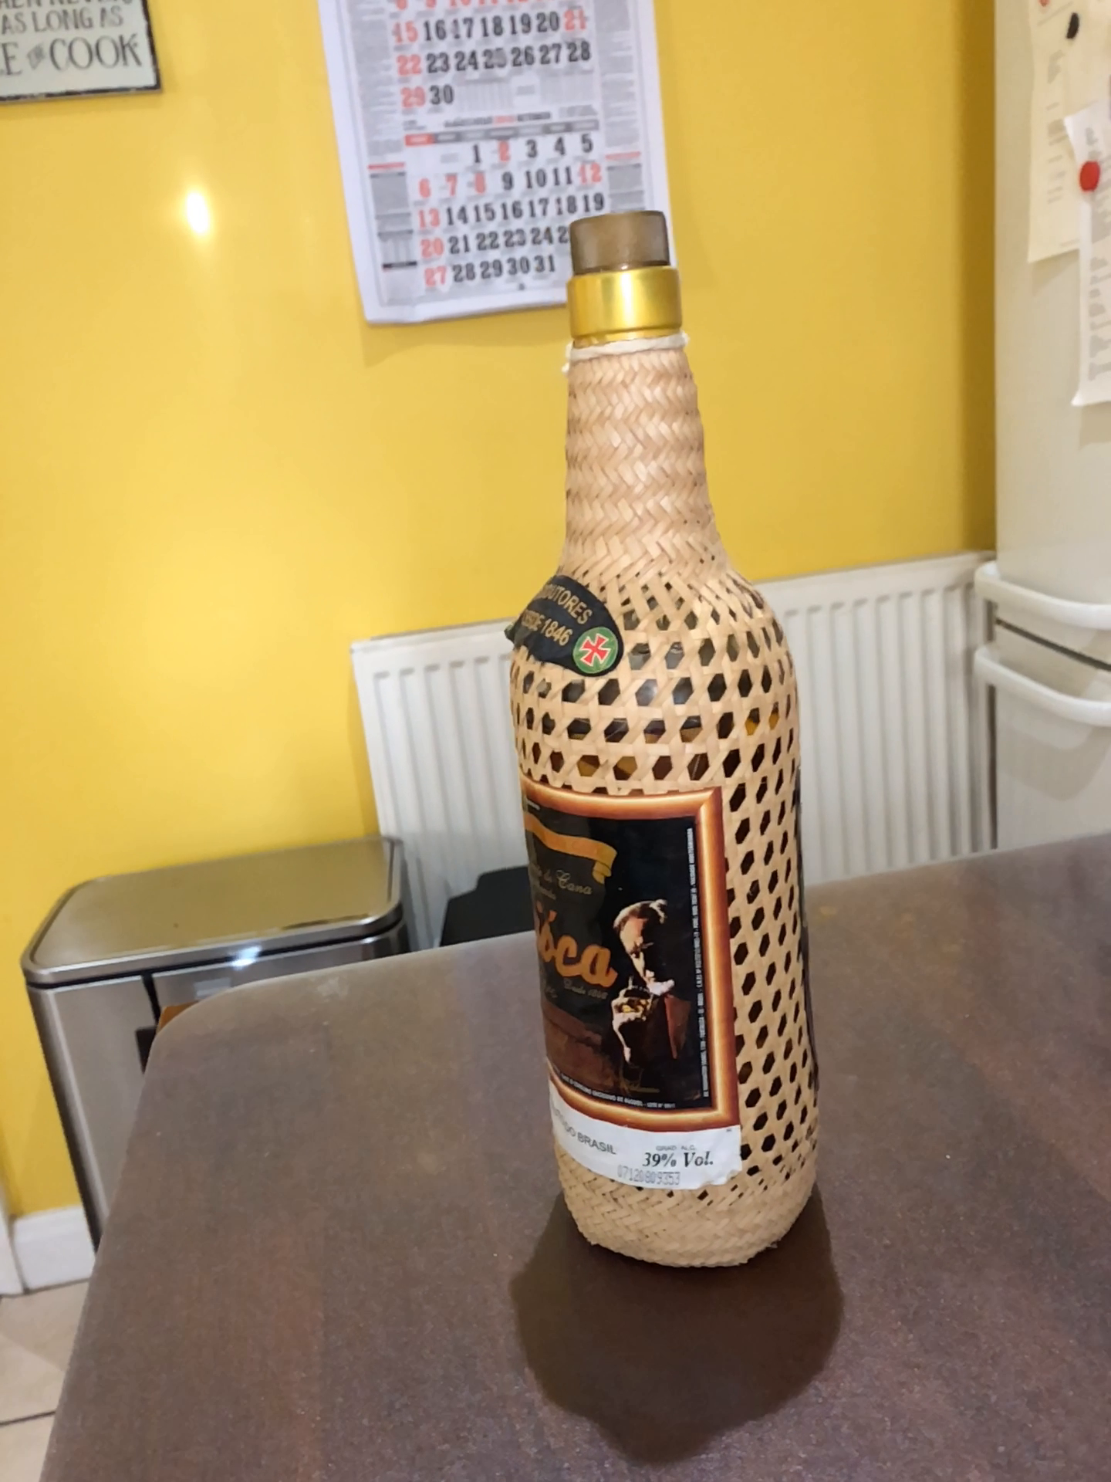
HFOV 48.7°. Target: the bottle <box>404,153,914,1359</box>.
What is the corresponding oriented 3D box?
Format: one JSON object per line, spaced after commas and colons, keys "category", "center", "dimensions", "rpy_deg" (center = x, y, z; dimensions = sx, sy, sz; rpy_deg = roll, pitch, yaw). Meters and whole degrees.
{"category": "bottle", "center": [0.036, 0.006, 0.384], "dimensions": [0.090, 0.328, 0.100], "rpy_deg": [-14, 17, -25]}
